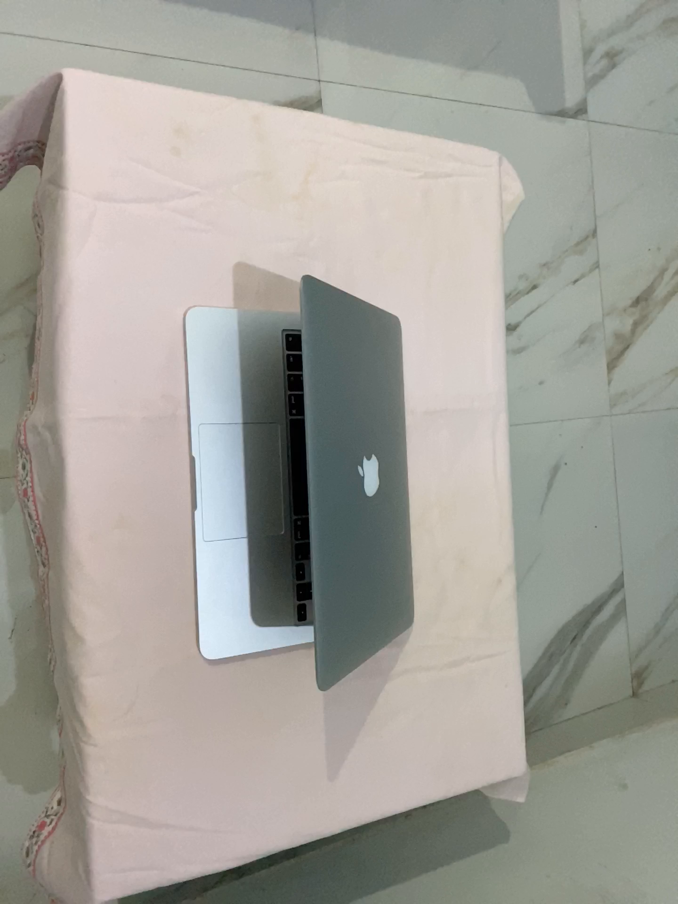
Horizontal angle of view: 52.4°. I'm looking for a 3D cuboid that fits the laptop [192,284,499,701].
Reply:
[{"bbox_3d":[0.002,0.026,0.593,0.209,0.139,0.296,-3,91,-25],"label":"laptop"}]
